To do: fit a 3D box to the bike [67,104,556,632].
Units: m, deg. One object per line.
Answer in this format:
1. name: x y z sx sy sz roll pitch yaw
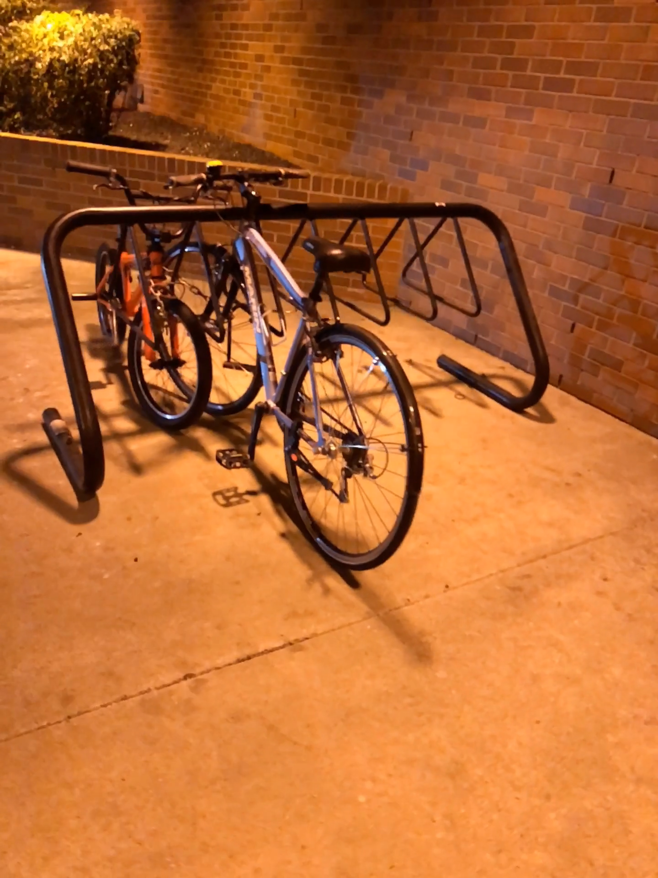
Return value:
1. bike: -0.230 -0.393 2.246 0.638 0.864 1.650 -11 36 -31
